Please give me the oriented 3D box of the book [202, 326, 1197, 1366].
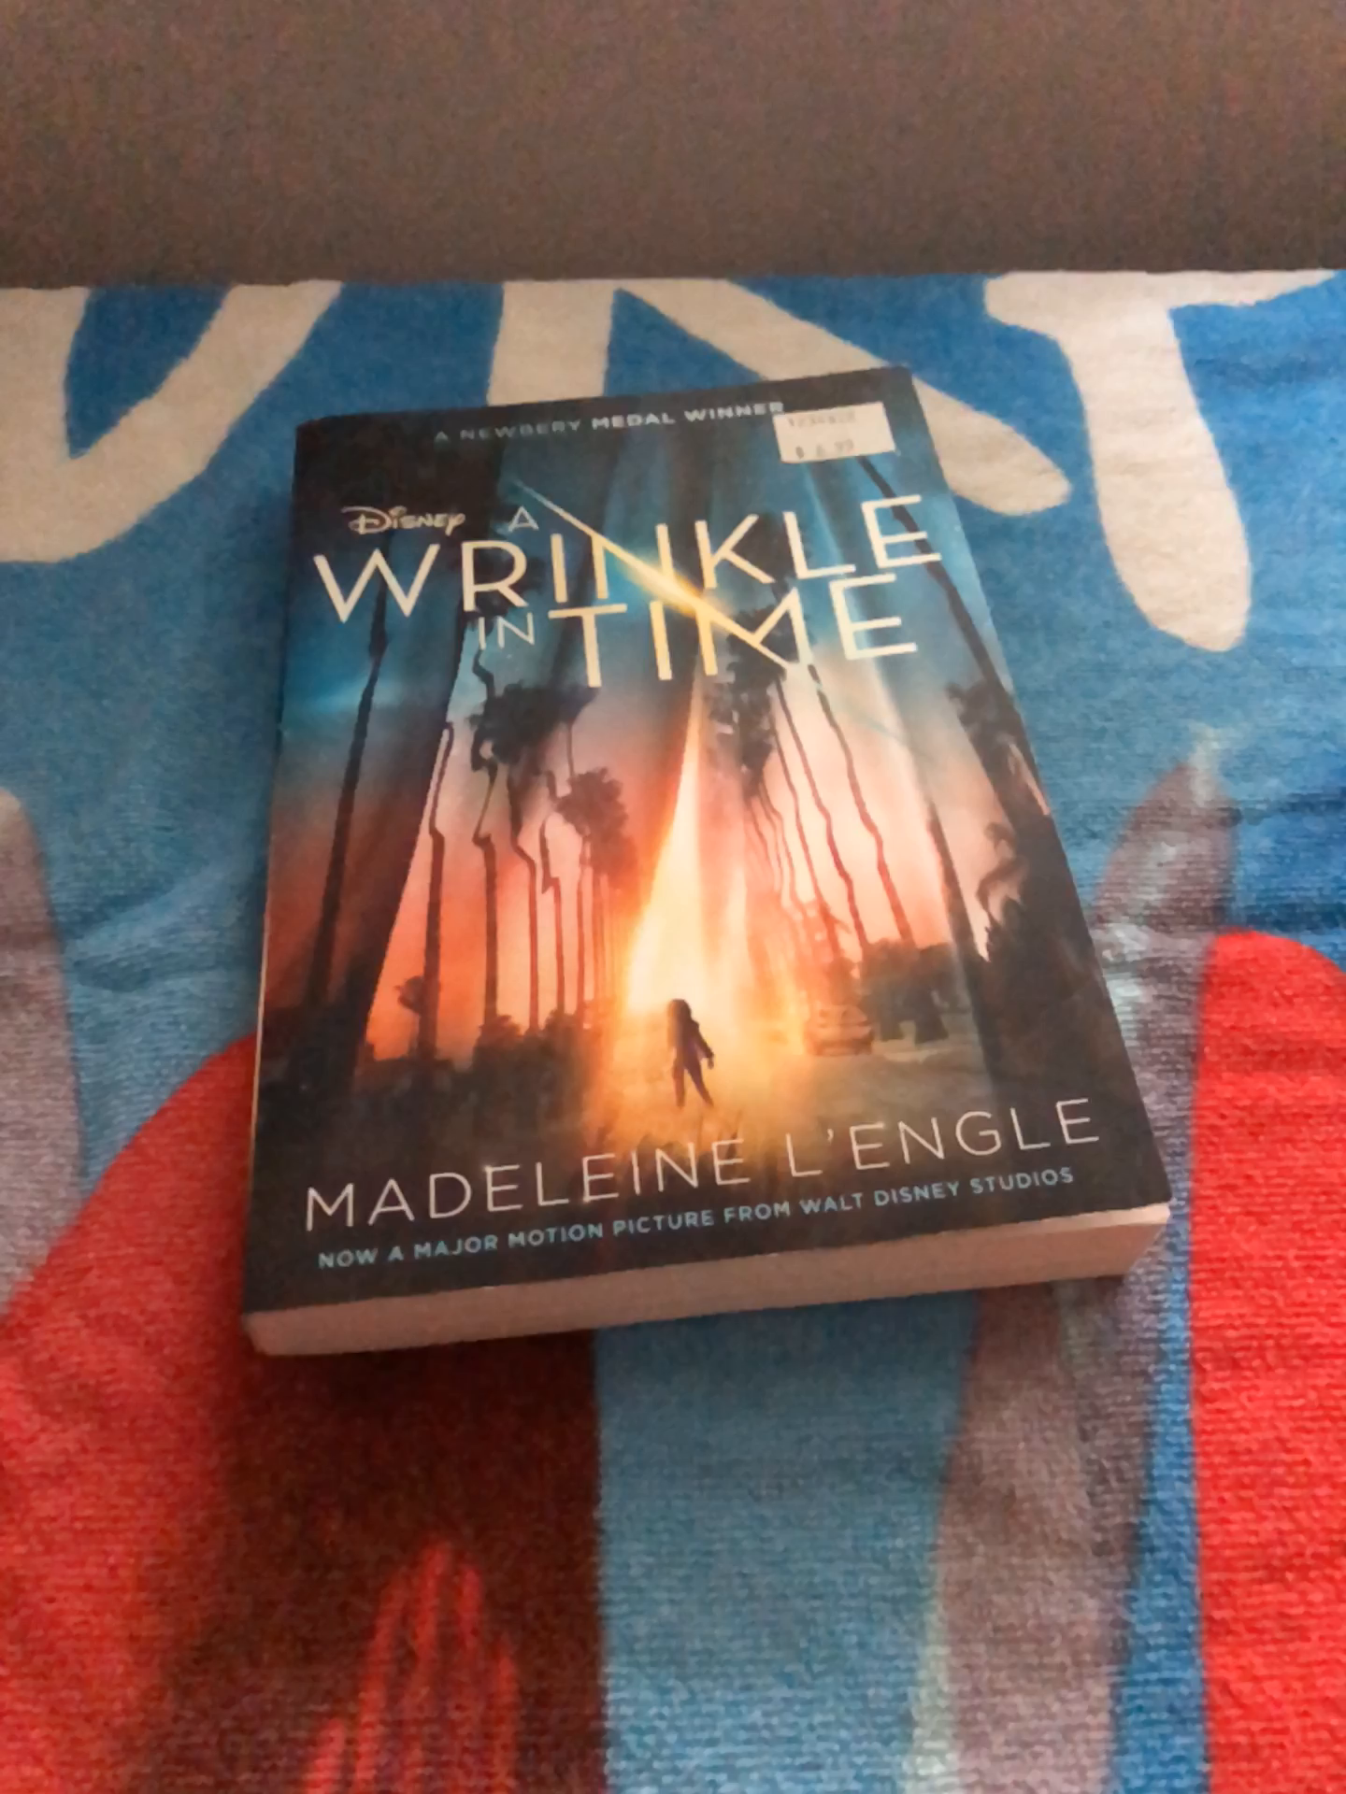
[{"bbox_3d":[-0.004,-0.024,0.272,0.138,0.031,0.196,-5,57,-1],"label":"book"}]
